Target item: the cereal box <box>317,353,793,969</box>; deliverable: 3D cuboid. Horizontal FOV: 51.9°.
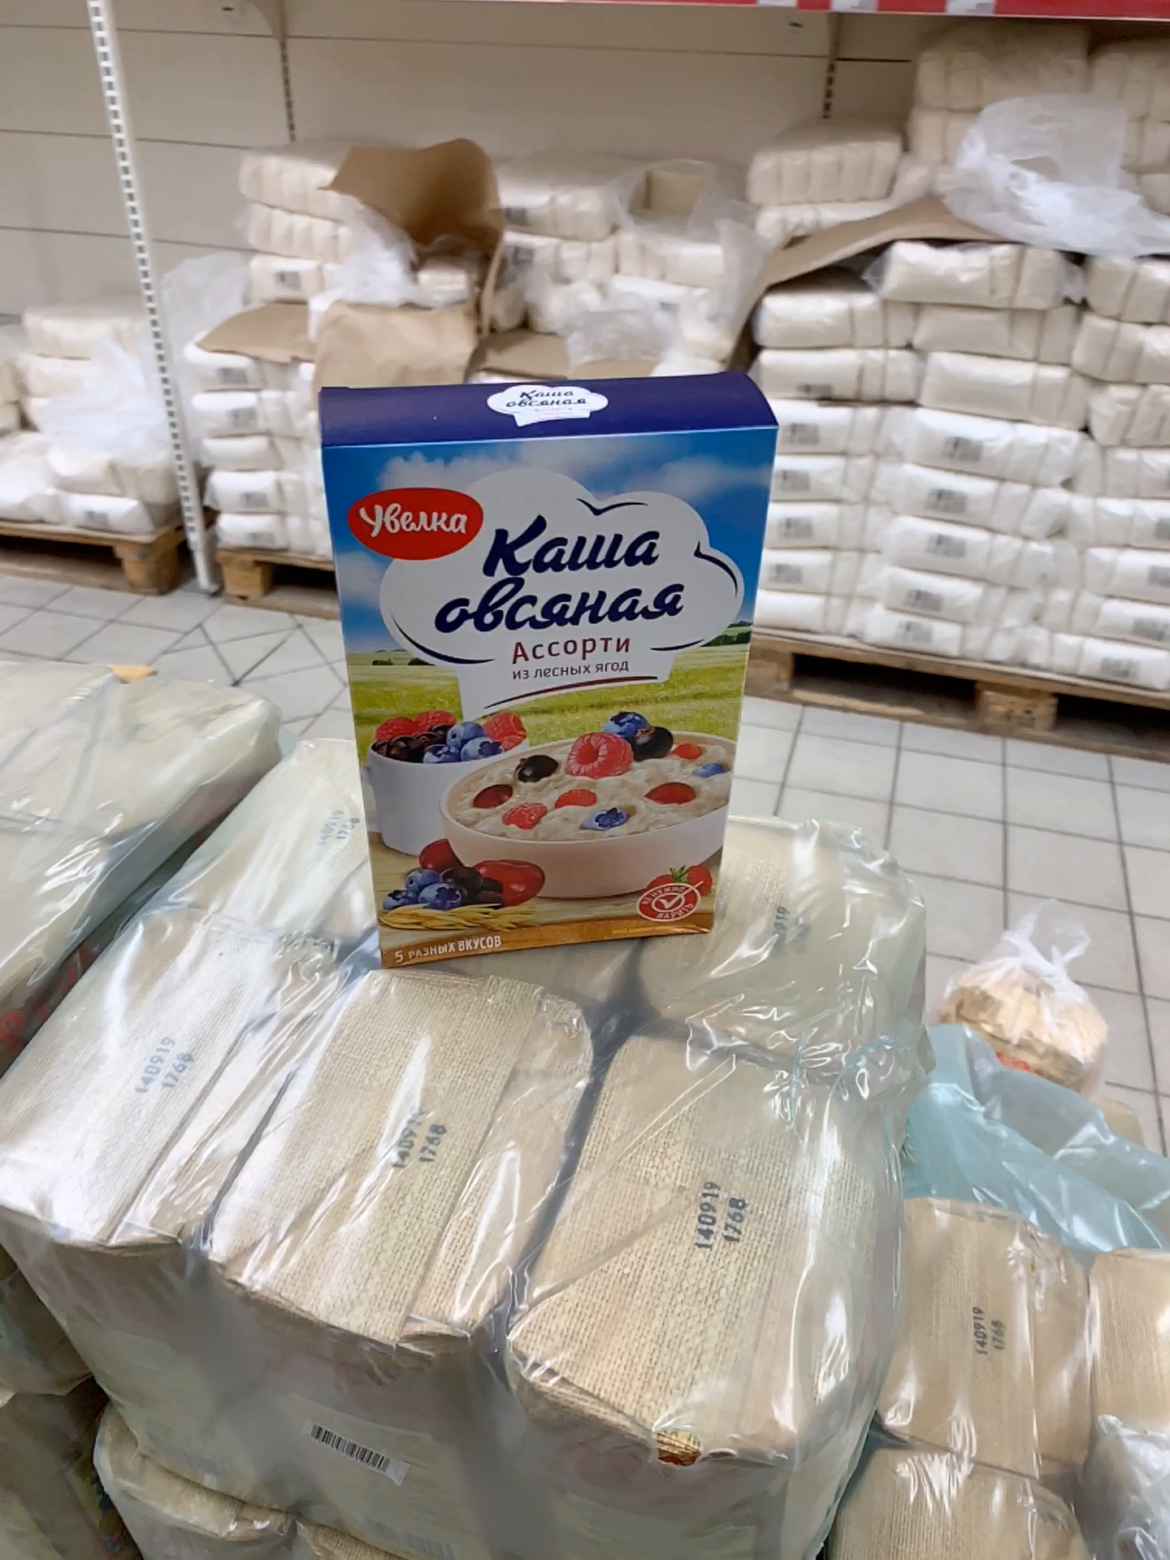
[{"bbox_3d":[-0.013,-0.033,0.405,0.130,0.198,0.050,-6,38,-10],"label":"cereal box"}]
